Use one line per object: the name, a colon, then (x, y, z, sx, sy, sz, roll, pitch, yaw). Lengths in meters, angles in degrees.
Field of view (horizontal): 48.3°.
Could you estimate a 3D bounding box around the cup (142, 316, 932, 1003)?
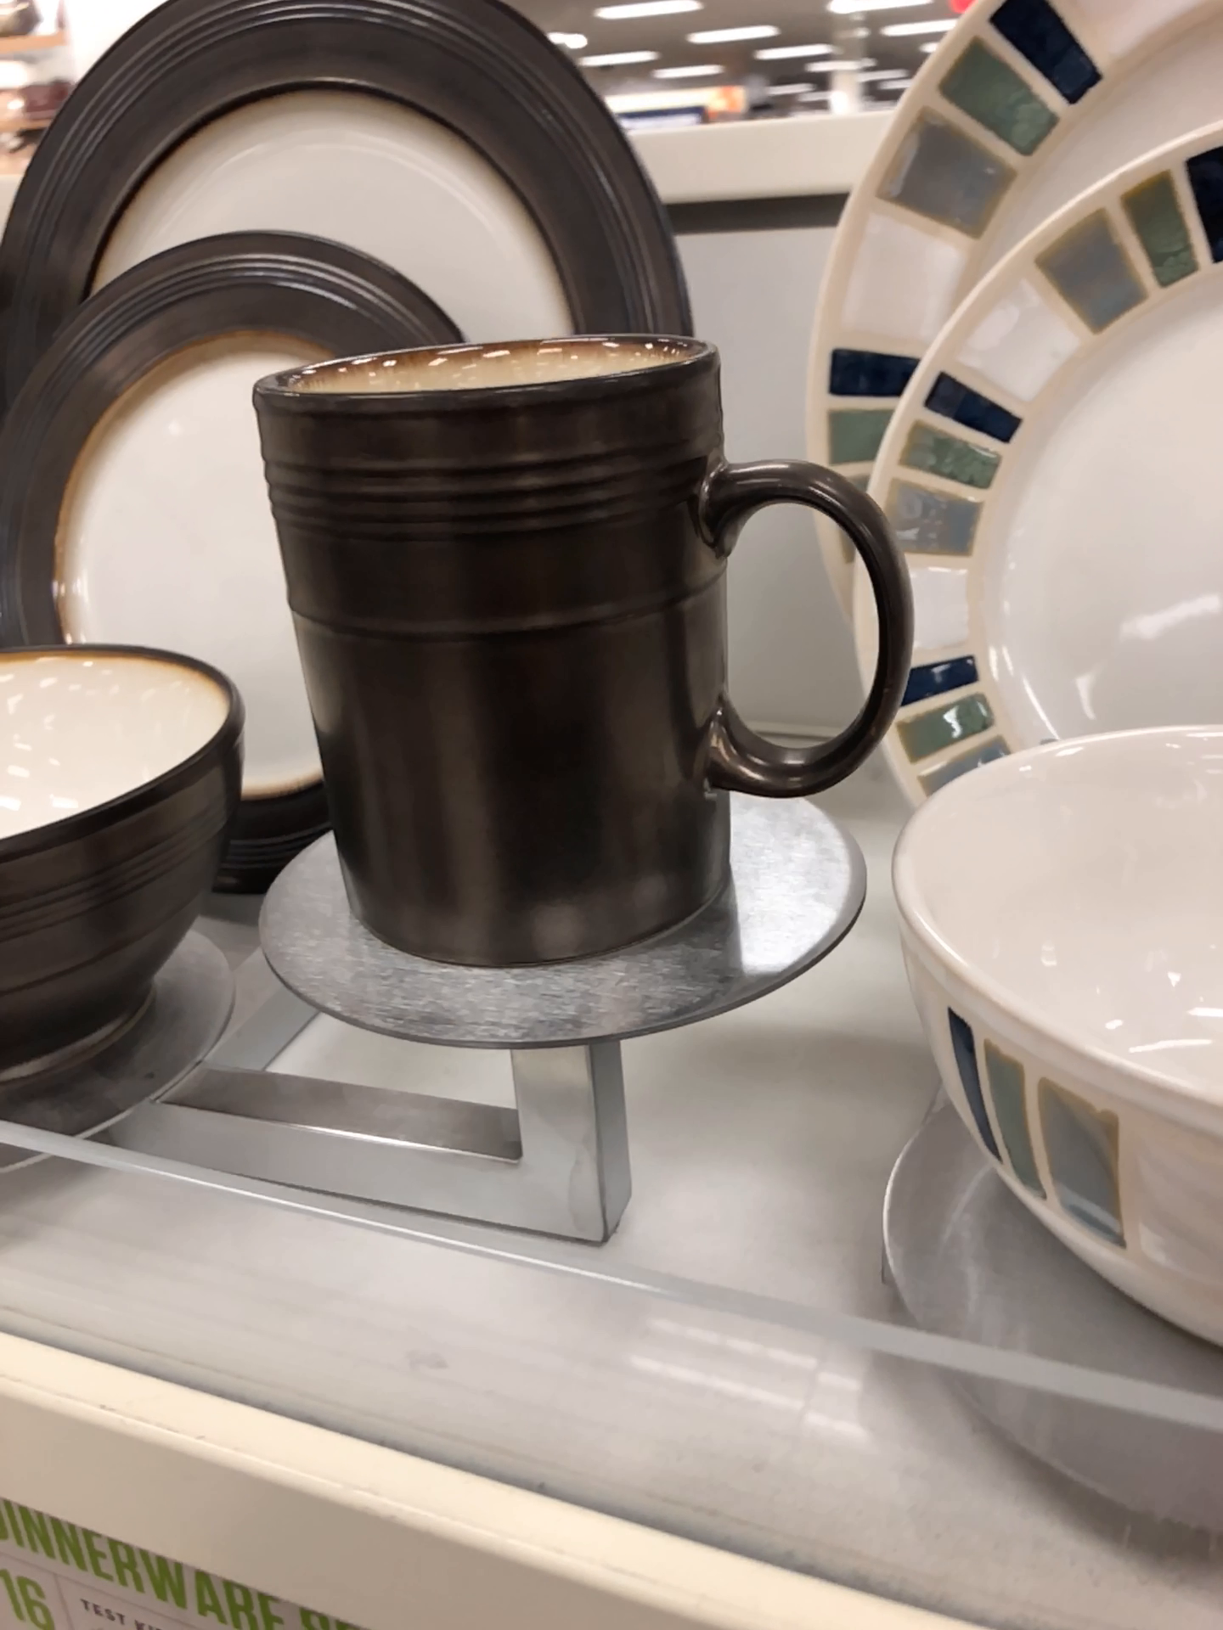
cup: (-0.003, -0.034, 0.258, 0.119, 0.102, 0.084, 2, 24, 11)
